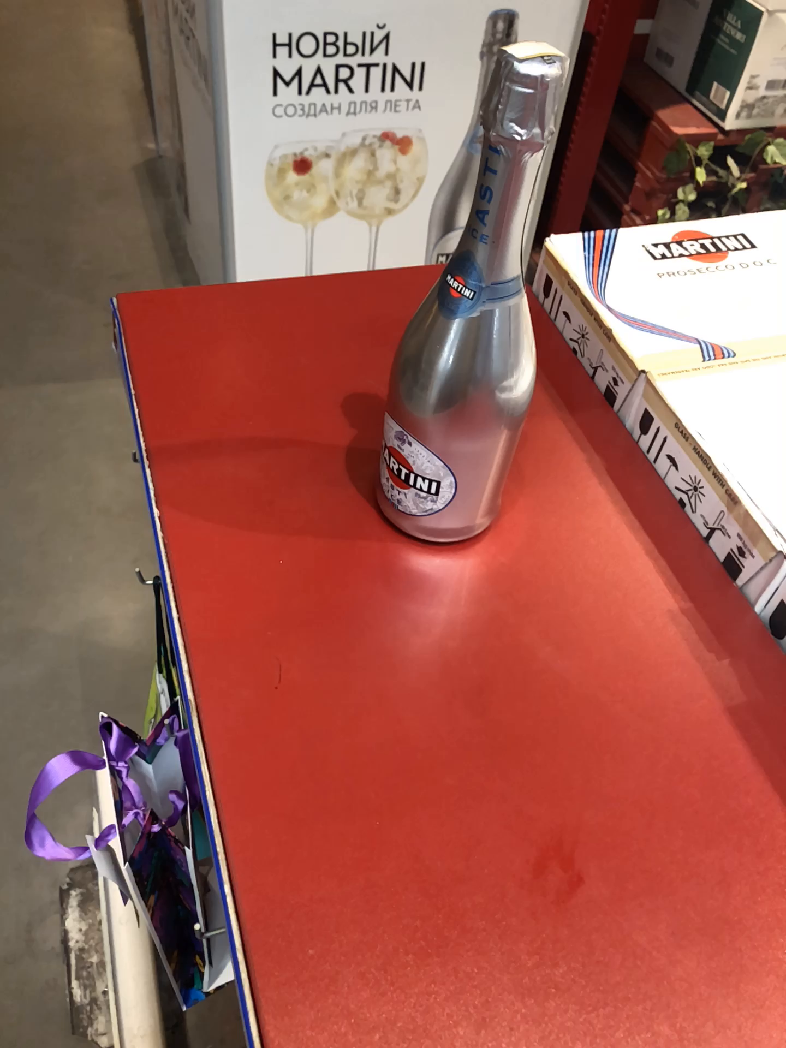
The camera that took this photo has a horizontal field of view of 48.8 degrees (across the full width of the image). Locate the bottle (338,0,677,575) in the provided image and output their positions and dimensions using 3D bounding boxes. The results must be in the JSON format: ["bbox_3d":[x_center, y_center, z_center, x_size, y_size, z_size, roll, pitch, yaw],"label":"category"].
[{"bbox_3d":[0.044,-0.118,0.499,0.100,0.298,0.100,3,49,-4],"label":"bottle"}]
